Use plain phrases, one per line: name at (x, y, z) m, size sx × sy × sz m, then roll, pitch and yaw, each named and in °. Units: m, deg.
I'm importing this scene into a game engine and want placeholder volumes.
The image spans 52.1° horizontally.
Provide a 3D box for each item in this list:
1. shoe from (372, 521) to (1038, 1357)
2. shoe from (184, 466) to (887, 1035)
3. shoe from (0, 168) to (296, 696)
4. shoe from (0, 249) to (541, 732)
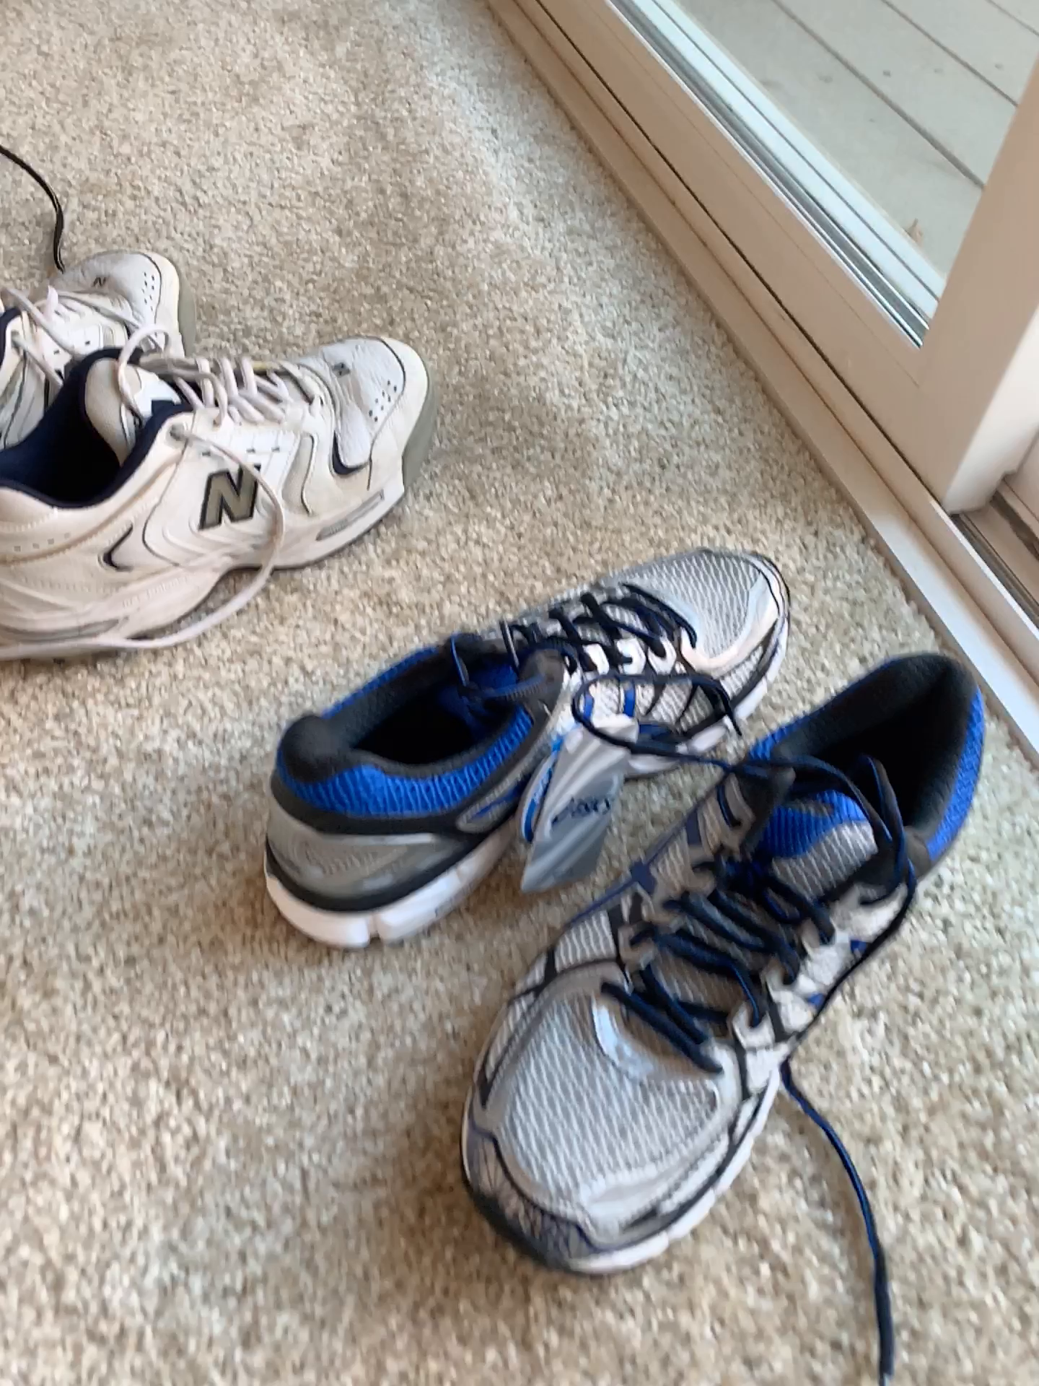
shoe at (0.100, 0.070, 0.415) m, size 0.110 × 0.090 × 0.321 m, roll 37°, pitch 58°, yaw 22°
shoe at (0.020, 0.013, 0.539) m, size 0.340 × 0.090 × 0.110 m, roll -30°, pitch 60°, yaw -25°
shoe at (-0.272, -0.177, 0.663) m, size 0.120 × 0.129 × 0.331 m, roll 16°, pitch 52°, yaw 8°
shoe at (-0.151, -0.129, 0.599) m, size 0.331 × 0.090 × 0.120 m, roll -36°, pitch 62°, yaw -28°
